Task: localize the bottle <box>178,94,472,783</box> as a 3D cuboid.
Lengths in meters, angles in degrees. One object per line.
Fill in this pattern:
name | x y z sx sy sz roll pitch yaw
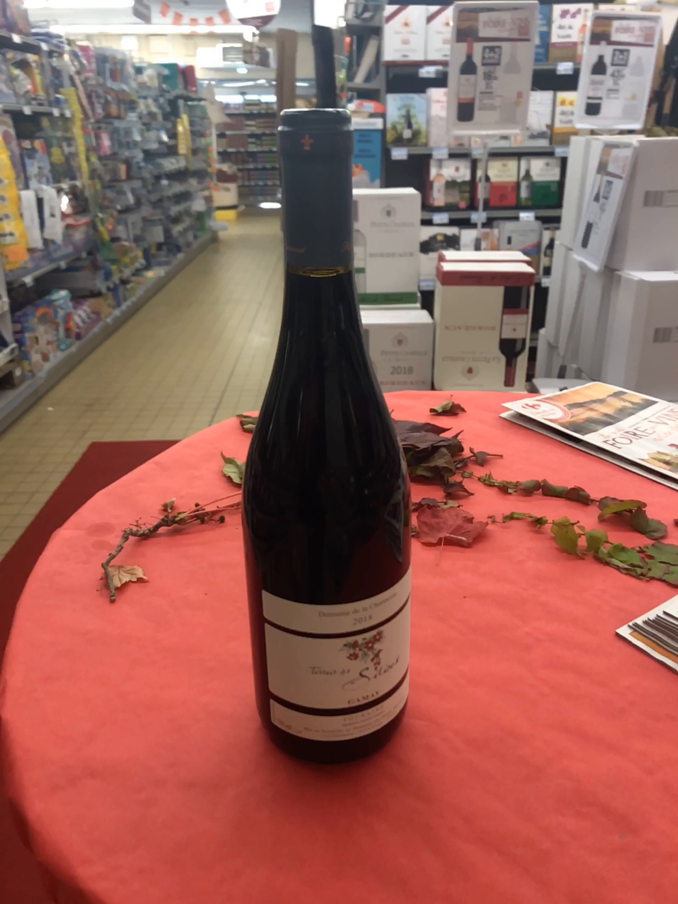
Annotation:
bottle | -0.009 -0.003 0.345 0.090 0.288 0.090 -1 22 0
